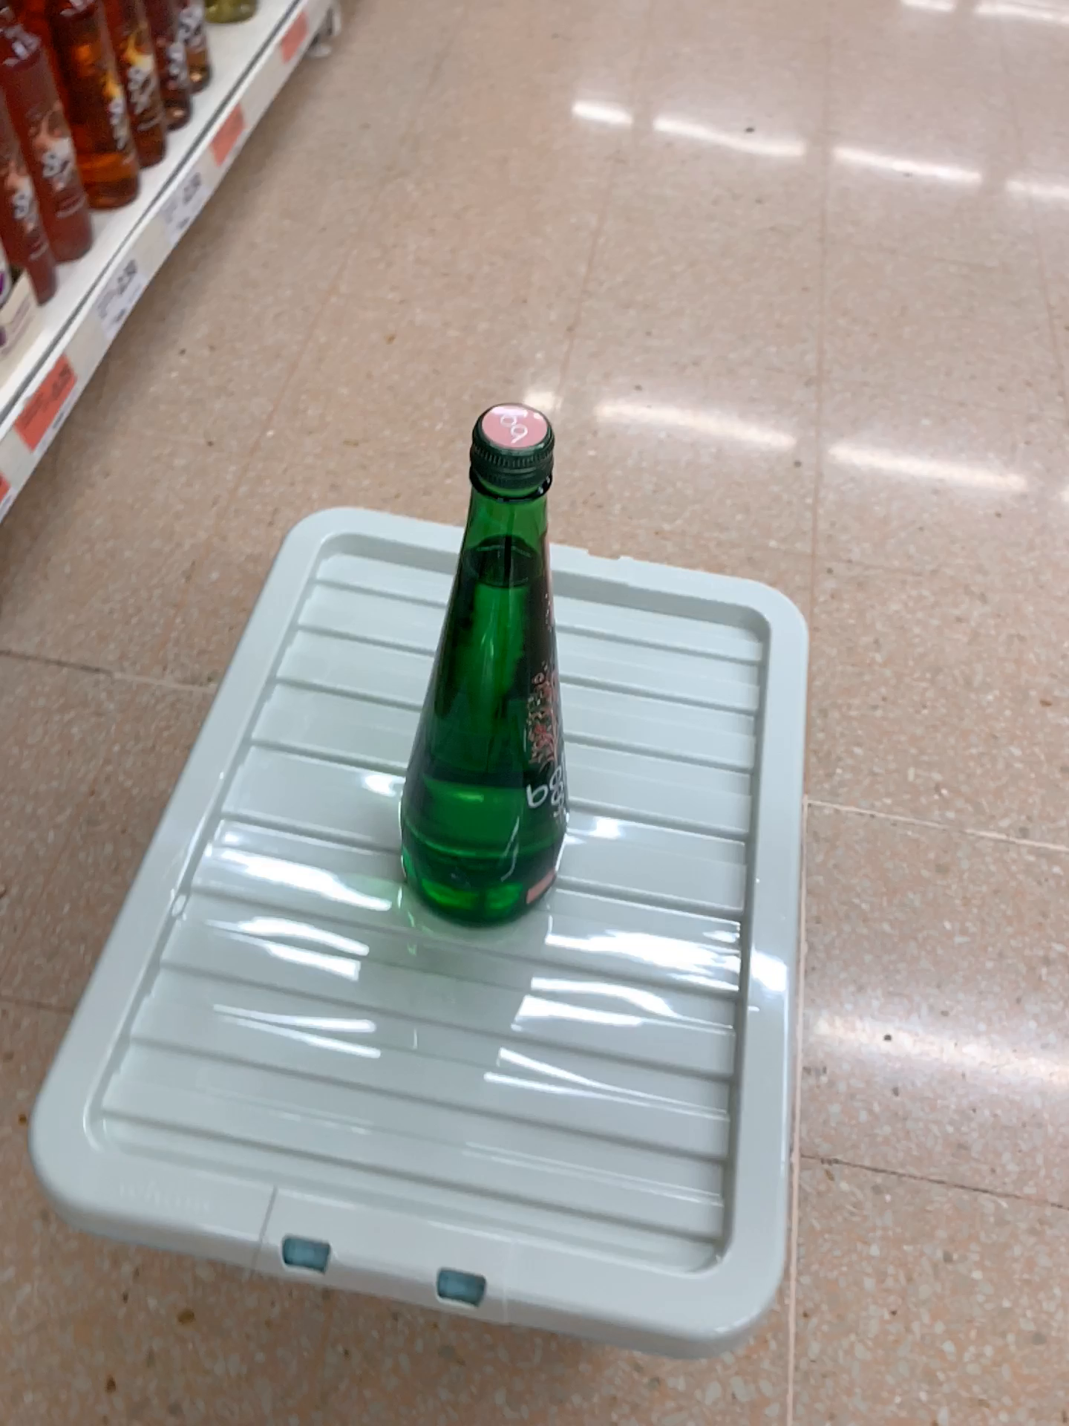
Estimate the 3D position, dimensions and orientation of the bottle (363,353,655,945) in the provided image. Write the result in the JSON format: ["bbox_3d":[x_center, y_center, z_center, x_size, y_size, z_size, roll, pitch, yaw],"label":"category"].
[{"bbox_3d":[-0.017,-0.004,0.488,0.085,0.287,0.091,3,55,-4],"label":"bottle"}]
